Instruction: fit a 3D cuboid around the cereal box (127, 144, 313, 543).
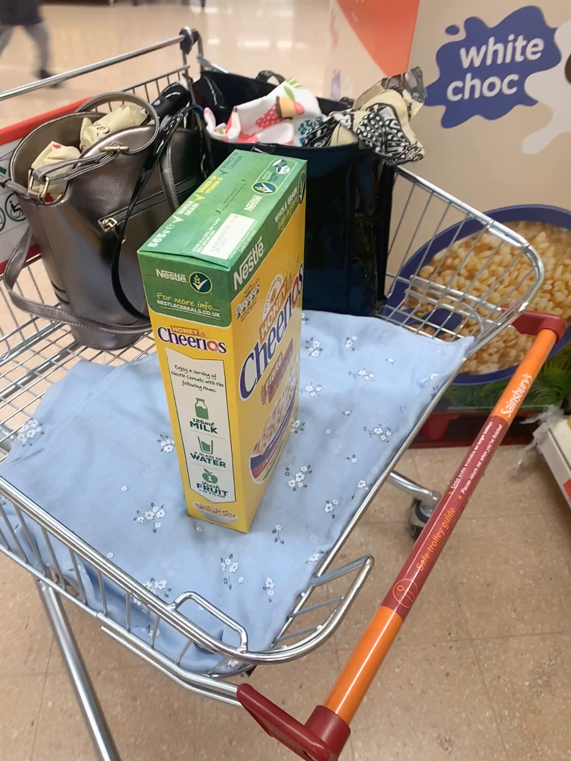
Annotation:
[{"bbox_3d":[-0.049,-0.026,0.604,0.080,0.346,0.212,13,44,12],"label":"cereal box"}]
